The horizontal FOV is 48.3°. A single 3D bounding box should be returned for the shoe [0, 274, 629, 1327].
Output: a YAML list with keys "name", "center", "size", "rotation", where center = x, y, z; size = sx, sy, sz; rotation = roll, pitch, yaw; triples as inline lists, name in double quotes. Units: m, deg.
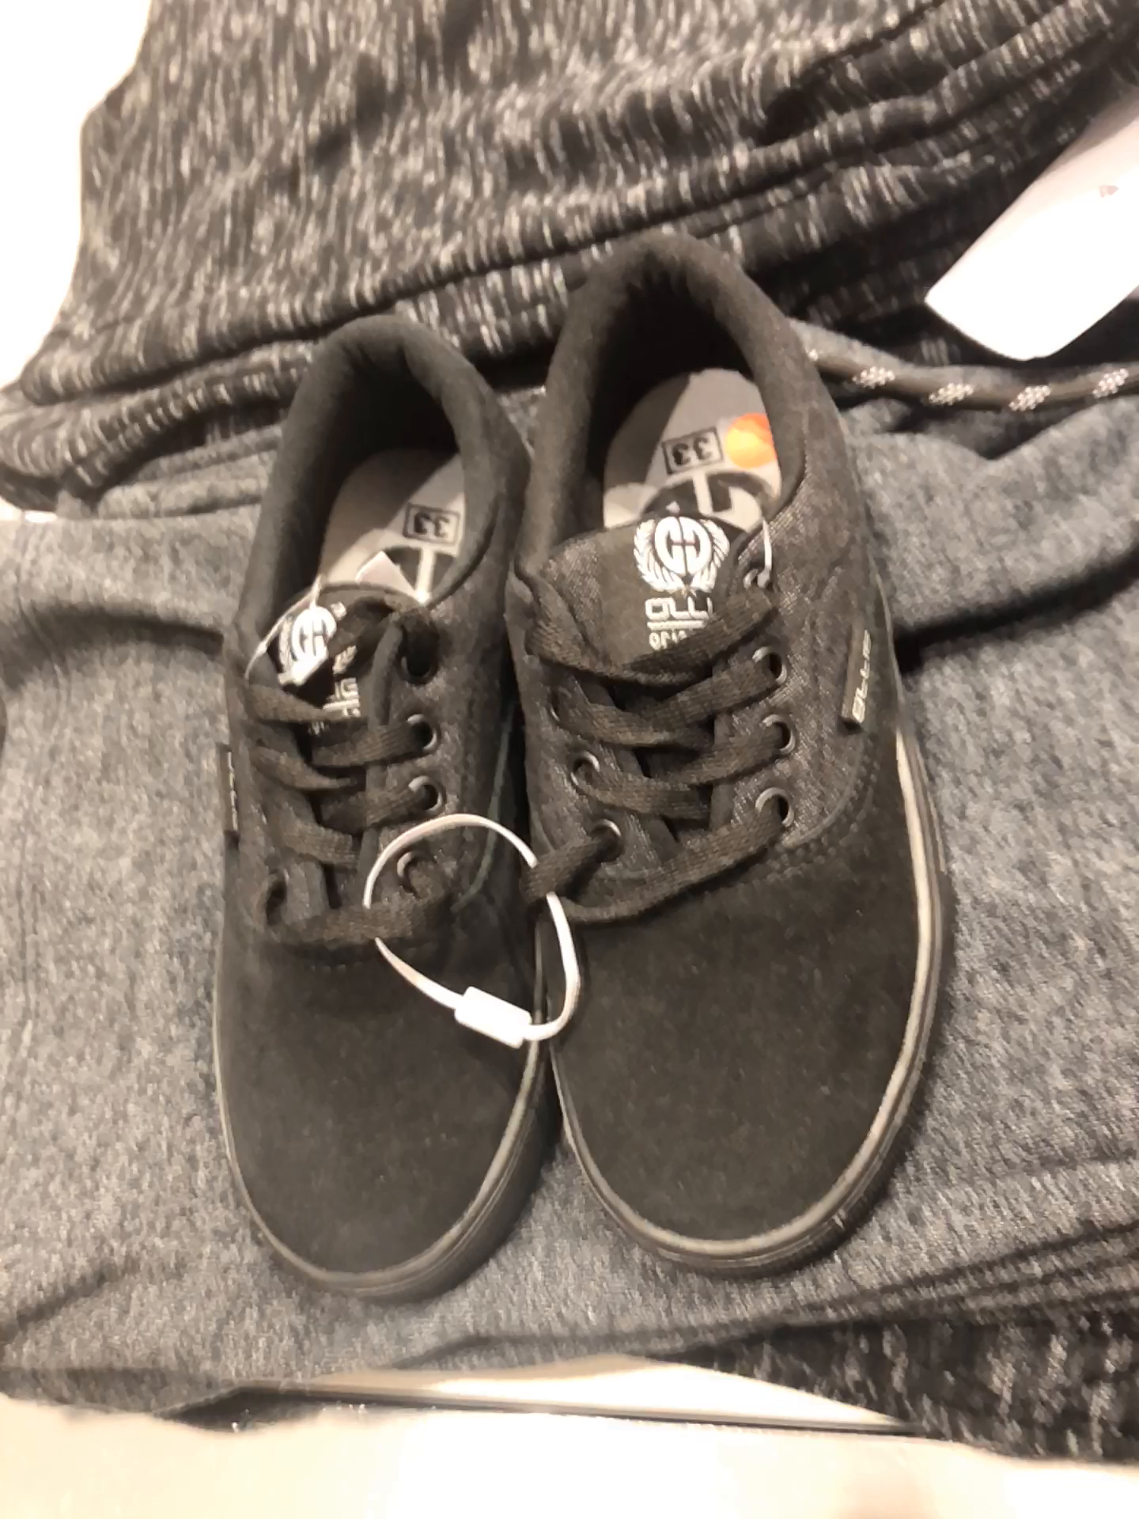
- name: "shoe"
  center: [-0.043, 0.005, 0.292]
  size: [0.090, 0.080, 0.221]
  rotation: [-1, 64, 12]

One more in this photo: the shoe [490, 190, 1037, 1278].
- name: "shoe"
  center: [0.039, -0.010, 0.299]
  size: [0.090, 0.080, 0.241]
  rotation: [-4, 63, 10]
